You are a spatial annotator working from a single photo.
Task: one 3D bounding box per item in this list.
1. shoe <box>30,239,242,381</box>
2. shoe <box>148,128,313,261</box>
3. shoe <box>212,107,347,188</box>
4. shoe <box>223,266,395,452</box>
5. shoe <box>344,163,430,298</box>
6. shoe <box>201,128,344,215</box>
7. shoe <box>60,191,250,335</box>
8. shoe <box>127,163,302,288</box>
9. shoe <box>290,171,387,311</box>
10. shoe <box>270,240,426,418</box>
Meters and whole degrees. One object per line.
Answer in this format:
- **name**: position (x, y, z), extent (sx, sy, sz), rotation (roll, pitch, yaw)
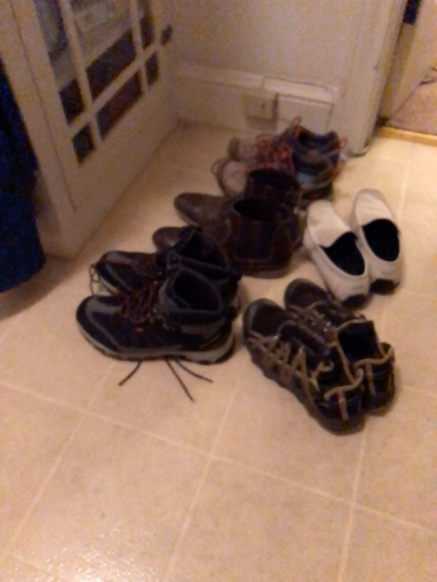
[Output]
- **shoe**: position (-0.130, 0.036, 0.867), extent (0.323, 0.192, 0.111), rotation (8, 50, 8)
- **shoe**: position (0.024, -0.216, 1.090), extent (0.323, 0.192, 0.111), rotation (18, 52, 15)
- **shoe**: position (0.150, -0.365, 1.241), extent (0.313, 0.112, 0.111), rotation (12, 51, 11)
- **shoe**: position (0.140, 0.109, 0.851), extent (0.110, 0.122, 0.294), rotation (-29, 55, -22)
- **shoe**: position (0.354, -0.140, 1.069), extent (0.110, 0.112, 0.305), rotation (3, 50, 3)
- **shoe**: position (0.125, -0.287, 1.167), extent (0.313, 0.112, 0.111), rotation (12, 51, 11)
- **shoe**: position (-0.113, -0.054, 0.952), extent (0.323, 0.192, 0.111), rotation (13, 51, 12)
- **shoe**: position (-0.005, -0.136, 1.025), extent (0.323, 0.192, 0.111), rotation (9, 50, 9)
- **shoe**: position (0.242, -0.116, 1.047), extent (0.110, 0.112, 0.305), rotation (-5, 50, -3)
- **shoe**: position (0.218, 0.059, 0.897), extent (0.110, 0.122, 0.294), rotation (-20, 52, -15)
